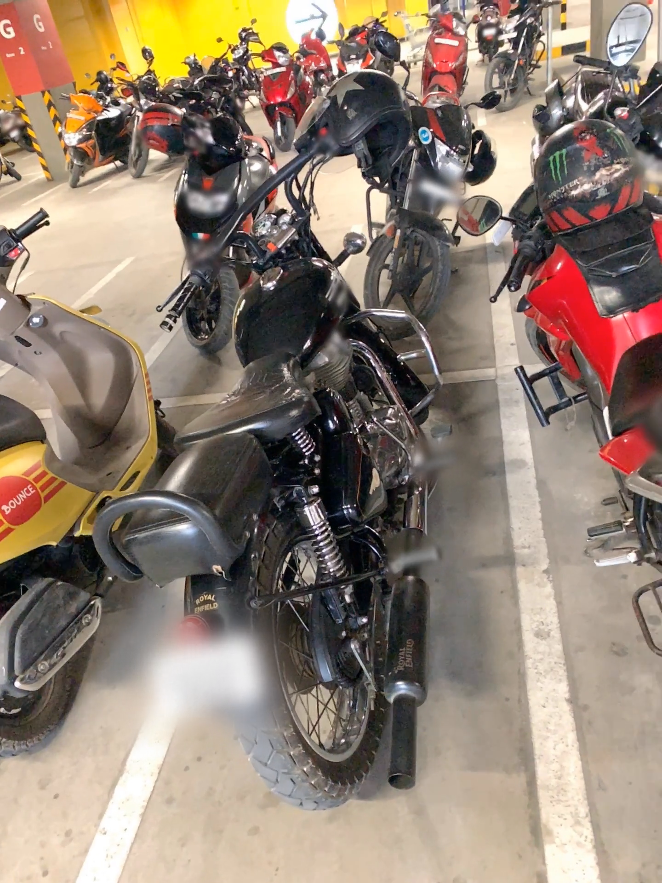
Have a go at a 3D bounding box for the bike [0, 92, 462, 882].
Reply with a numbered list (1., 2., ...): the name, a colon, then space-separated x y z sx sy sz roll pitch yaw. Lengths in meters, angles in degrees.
1. bike: -0.217 -0.137 1.993 0.799 1.303 2.031 -8 32 8
